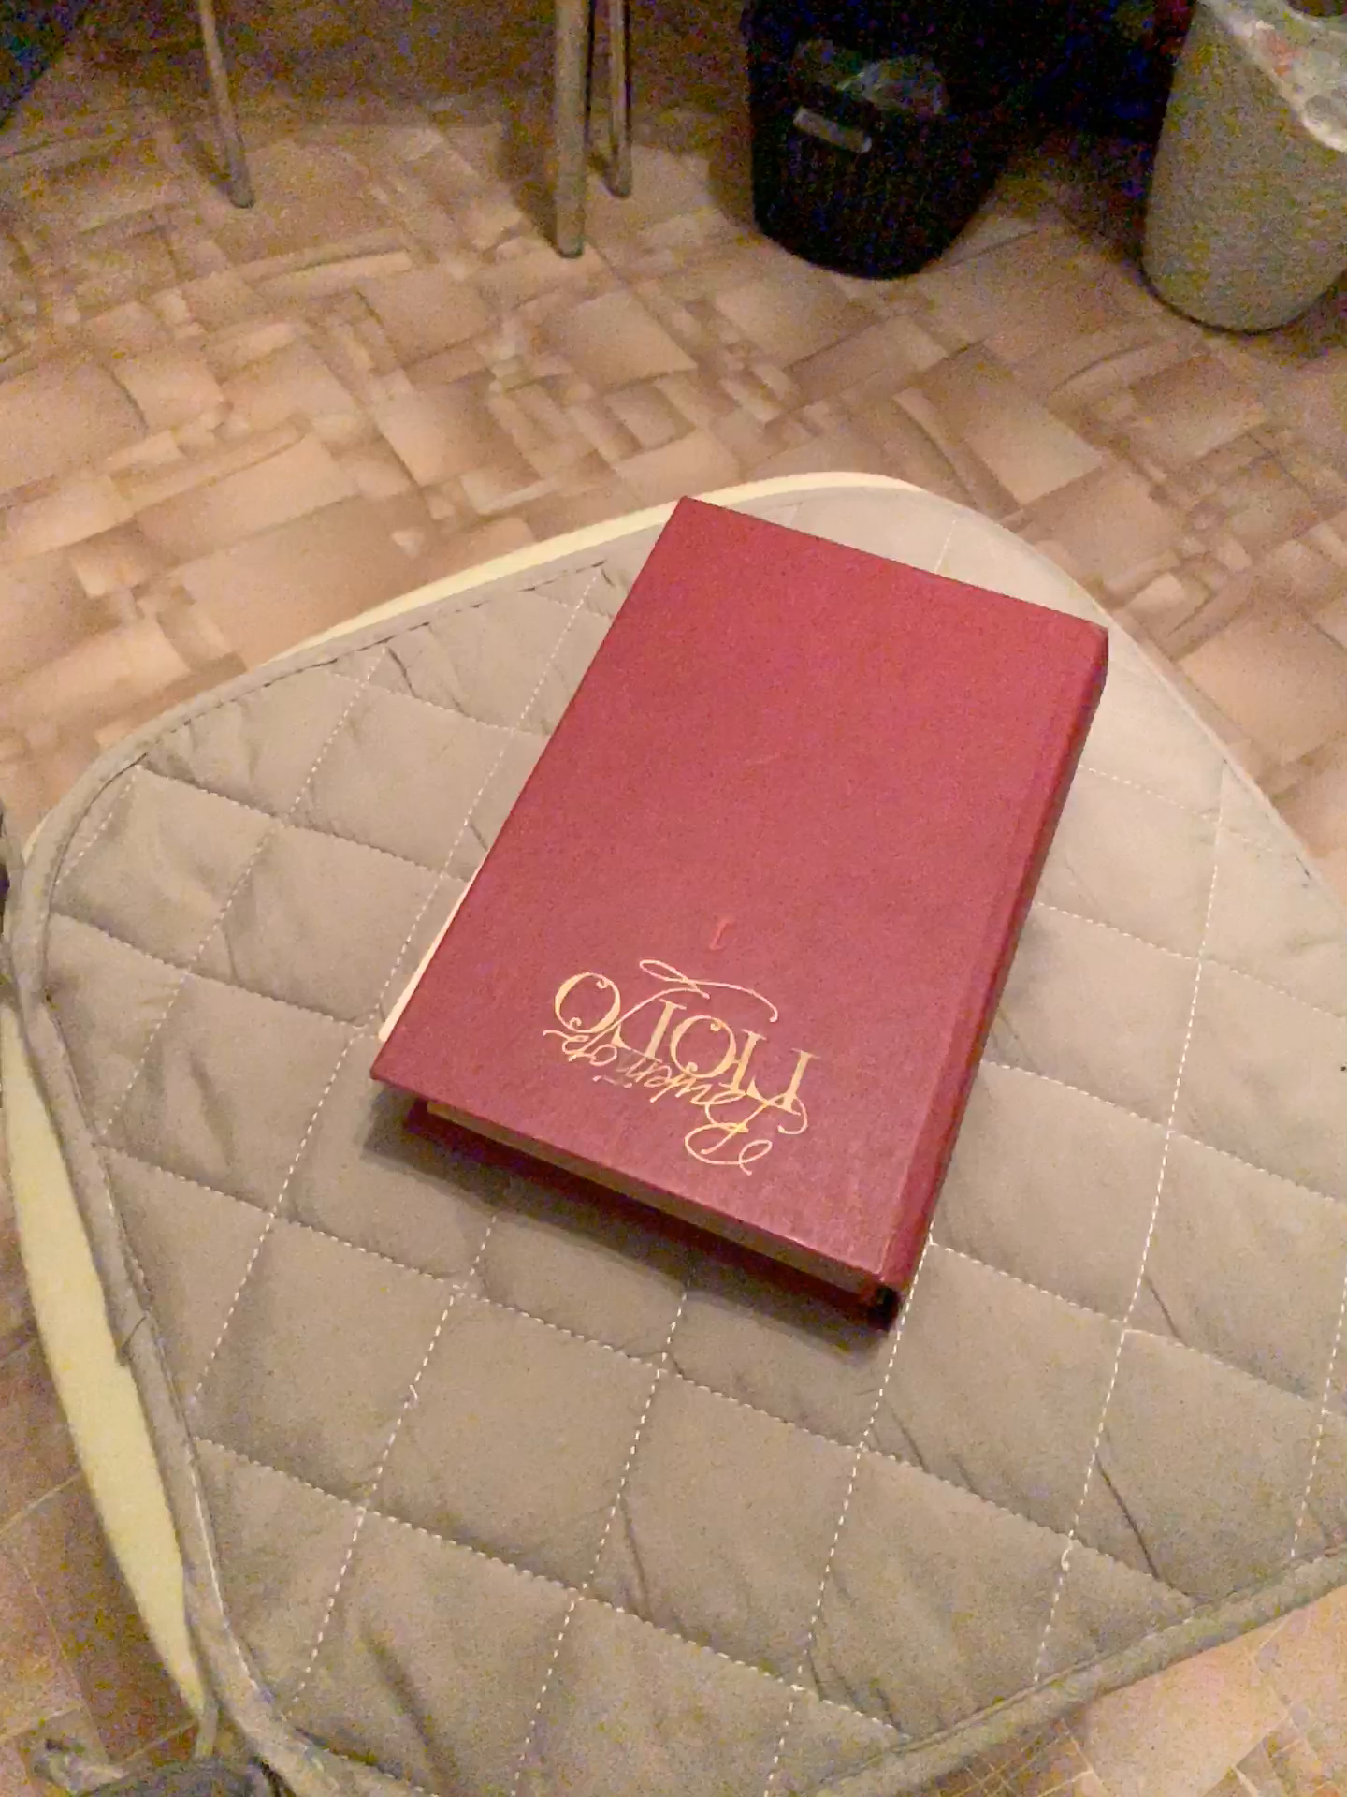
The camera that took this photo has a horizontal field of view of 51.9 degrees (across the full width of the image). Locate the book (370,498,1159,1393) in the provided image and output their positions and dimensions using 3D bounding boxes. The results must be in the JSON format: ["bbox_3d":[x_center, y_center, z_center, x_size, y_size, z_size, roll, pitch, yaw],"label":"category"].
[{"bbox_3d":[0.032,0.003,0.372,0.140,0.060,0.201,20,61,7],"label":"book"}]
